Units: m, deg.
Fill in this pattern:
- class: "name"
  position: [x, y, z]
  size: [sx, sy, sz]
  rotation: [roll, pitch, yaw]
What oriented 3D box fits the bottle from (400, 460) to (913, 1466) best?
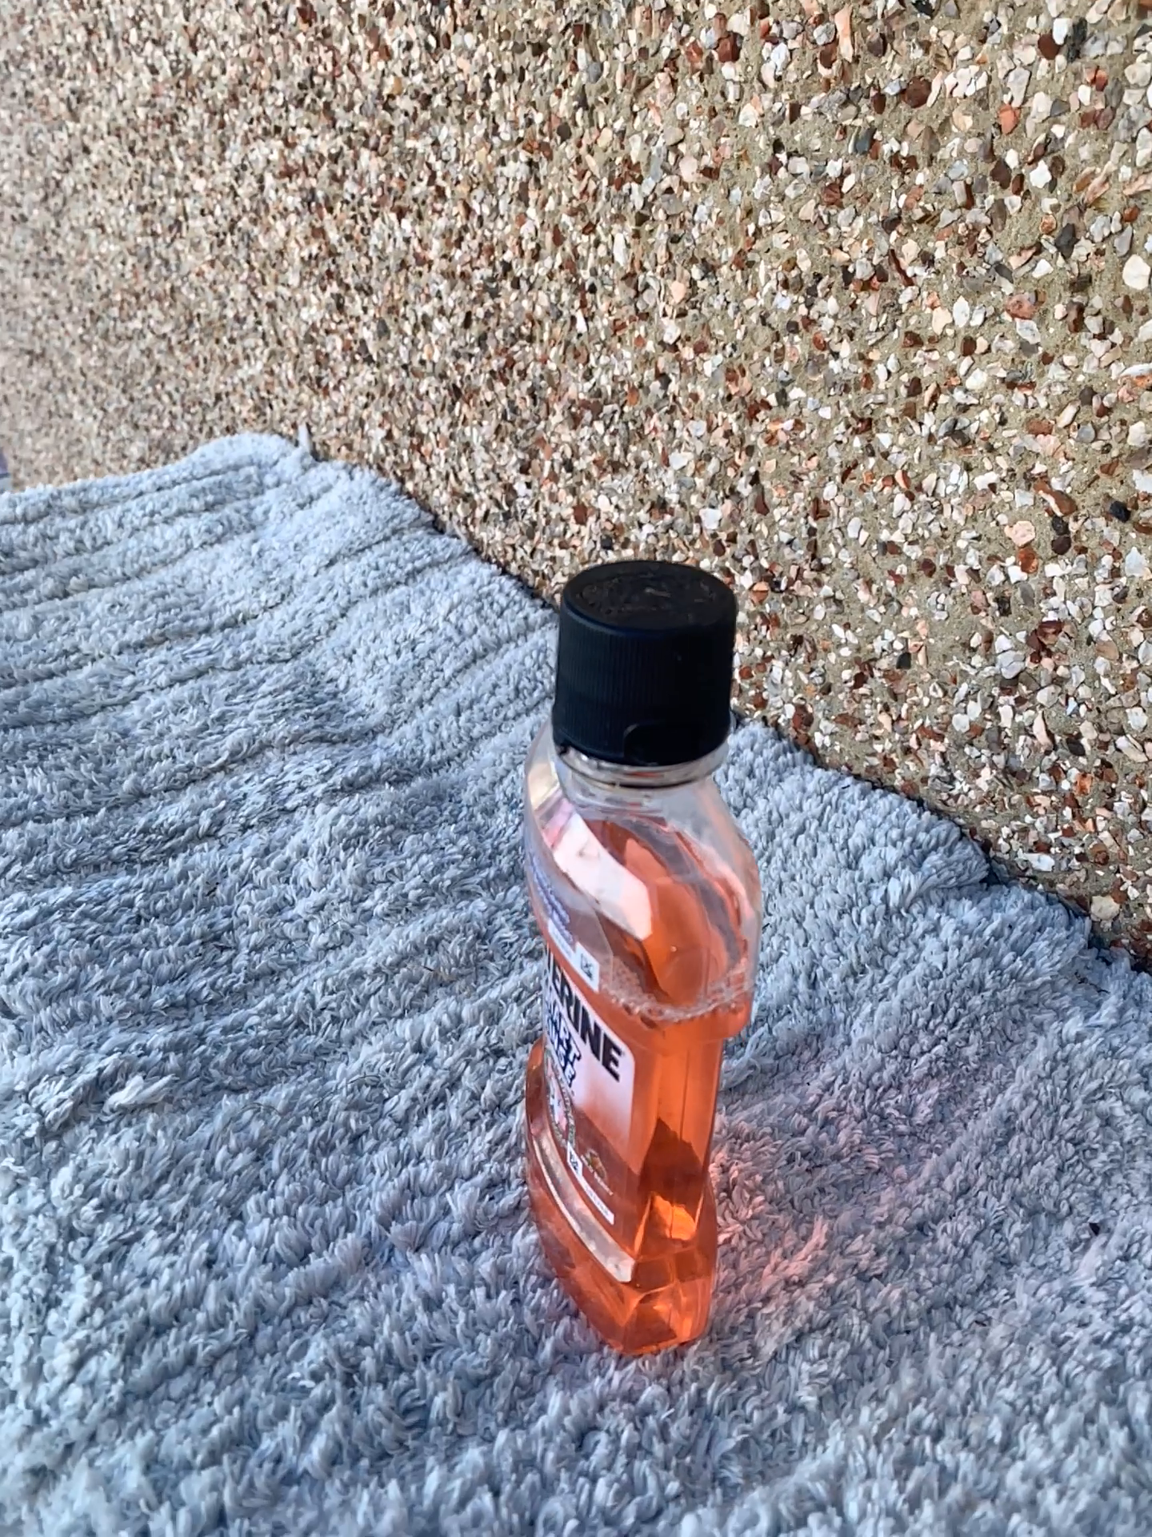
- class: "bottle"
  position: [0.009, 0.036, 0.225]
  size: [0.050, 0.159, 0.091]
  rotation: [-11, 33, -14]
